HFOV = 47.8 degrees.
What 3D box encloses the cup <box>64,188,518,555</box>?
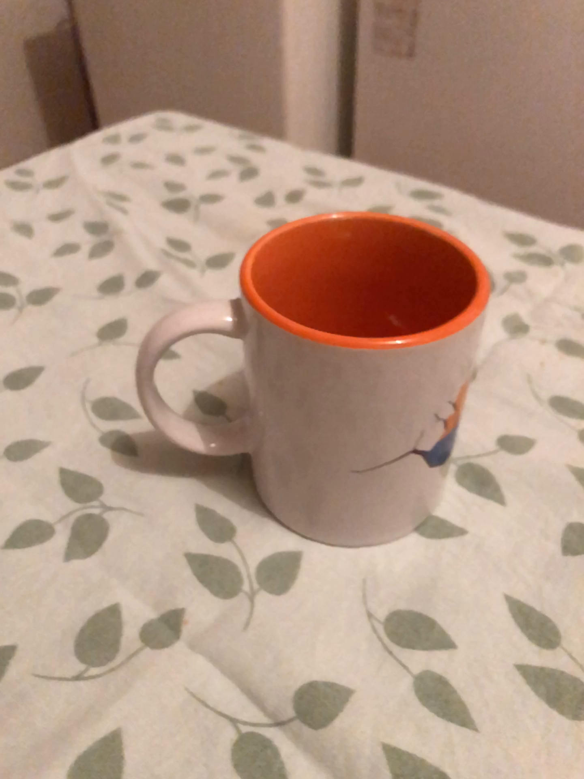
[{"bbox_3d":[-0.001,-0.006,0.237,0.120,0.099,0.081,-2,42,-1],"label":"cup"}]
